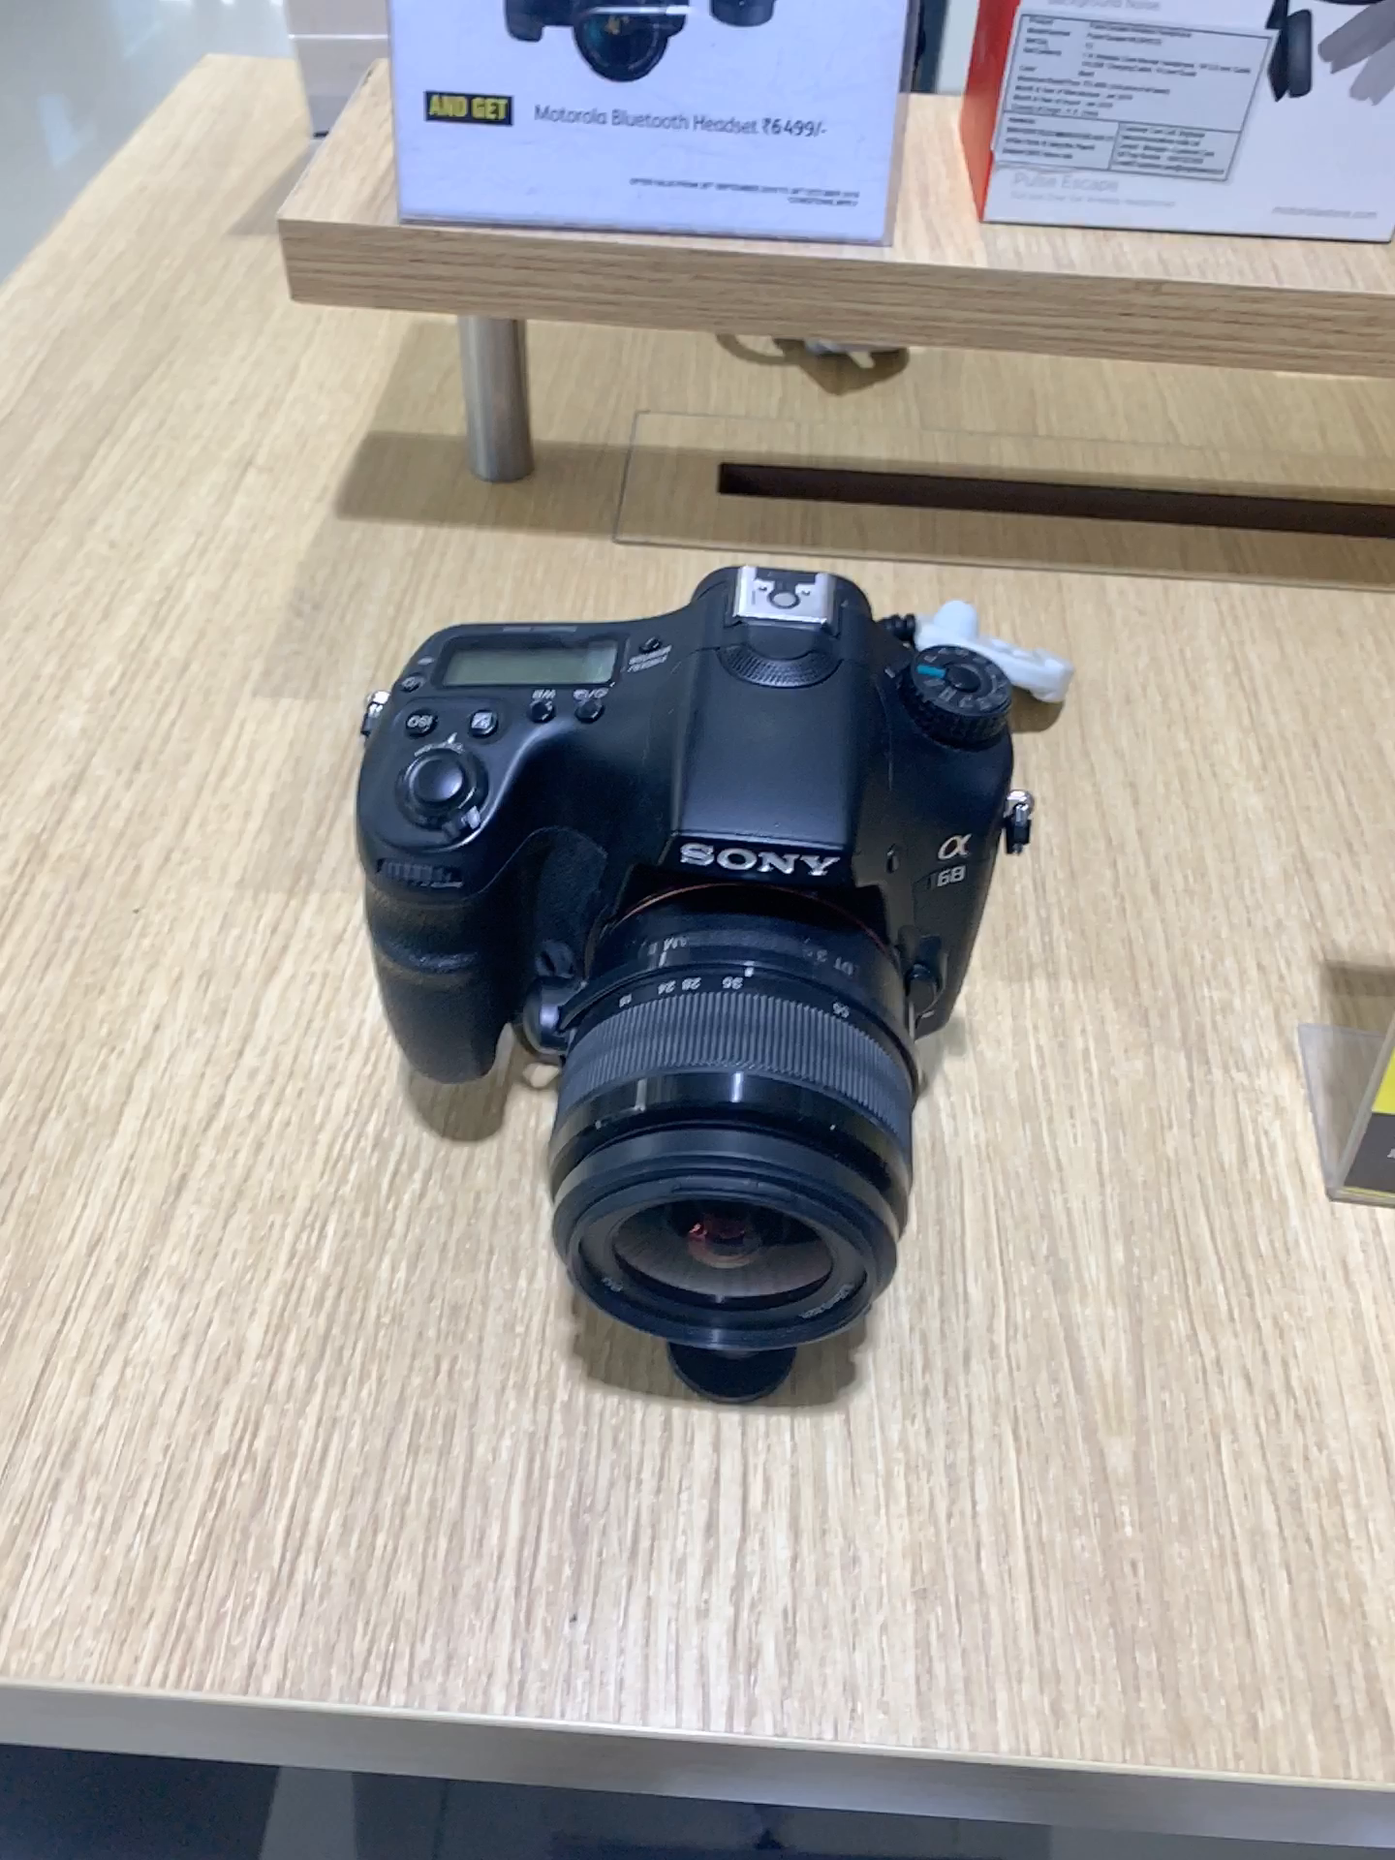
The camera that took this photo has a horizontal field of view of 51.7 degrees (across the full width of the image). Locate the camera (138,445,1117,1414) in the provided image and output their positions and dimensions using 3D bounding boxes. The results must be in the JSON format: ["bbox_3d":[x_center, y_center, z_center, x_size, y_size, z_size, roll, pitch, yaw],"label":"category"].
[{"bbox_3d":[-0.004,-0.010,0.294,0.140,0.090,0.170,5,48,3],"label":"camera"}]
